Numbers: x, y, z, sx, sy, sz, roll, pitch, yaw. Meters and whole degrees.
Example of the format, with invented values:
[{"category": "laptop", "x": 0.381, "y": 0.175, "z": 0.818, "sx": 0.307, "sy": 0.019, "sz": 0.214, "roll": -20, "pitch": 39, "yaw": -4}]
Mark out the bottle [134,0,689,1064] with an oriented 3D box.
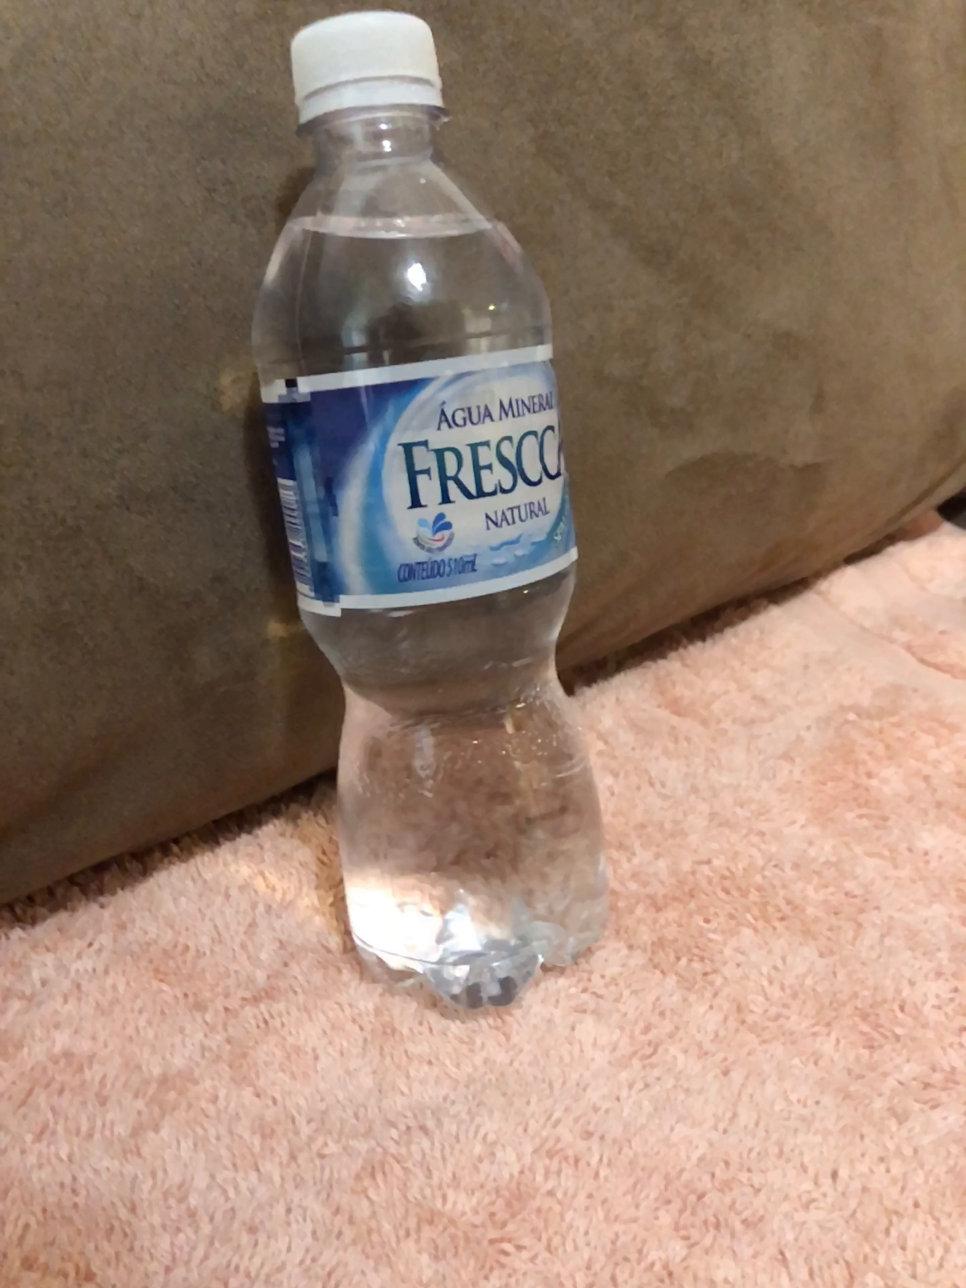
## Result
[{"category": "bottle", "x": -0.013, "y": -0.025, "z": 0.256, "sx": 0.070, "sy": 0.209, "sz": 0.080, "roll": -18, "pitch": 19, "yaw": -32}]
